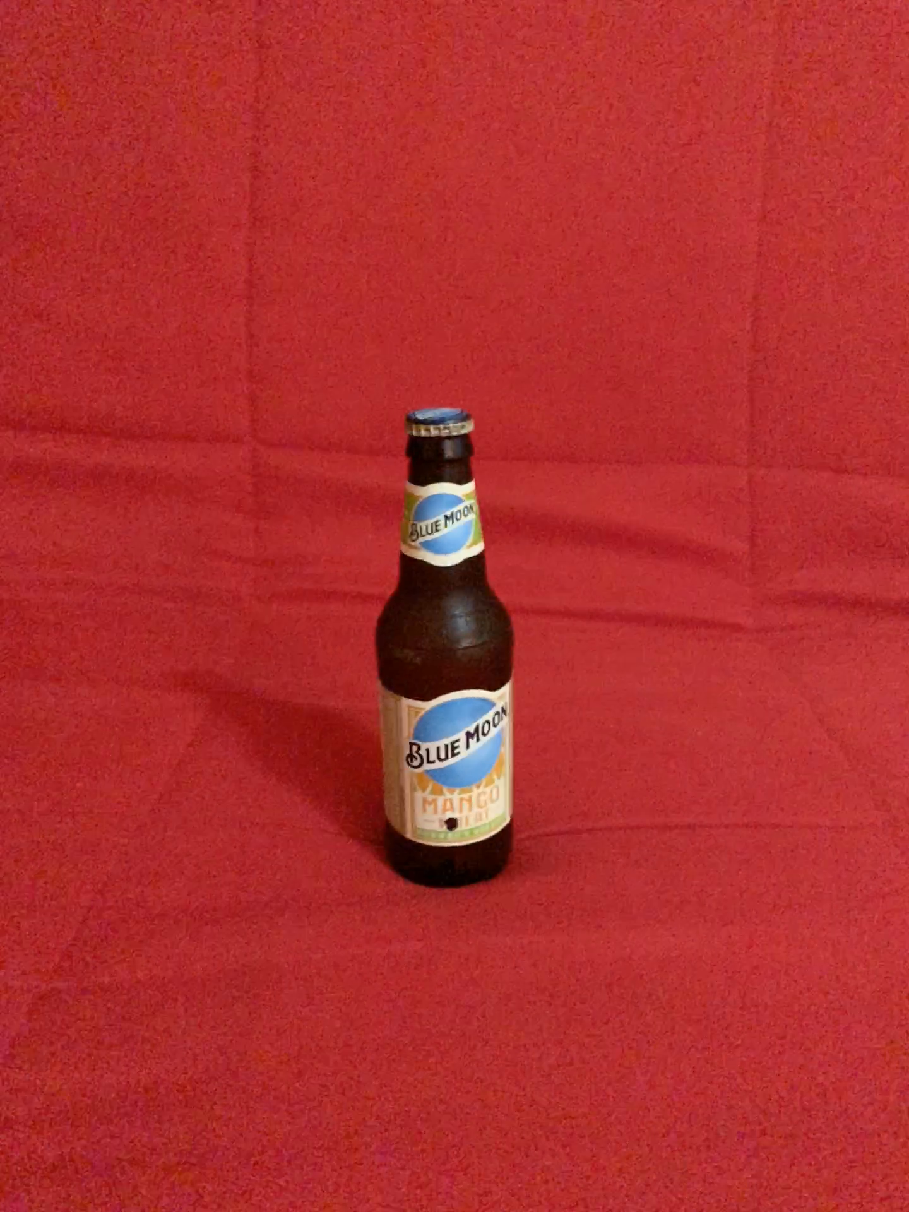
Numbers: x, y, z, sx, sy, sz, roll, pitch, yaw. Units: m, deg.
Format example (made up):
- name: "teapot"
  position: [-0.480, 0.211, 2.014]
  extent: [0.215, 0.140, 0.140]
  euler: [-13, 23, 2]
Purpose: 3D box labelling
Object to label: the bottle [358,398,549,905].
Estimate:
- name: "bottle"
  position: [-0.002, 0.024, 0.418]
  extent: [0.070, 0.216, 0.069]
  euler: [0, 26, 0]
